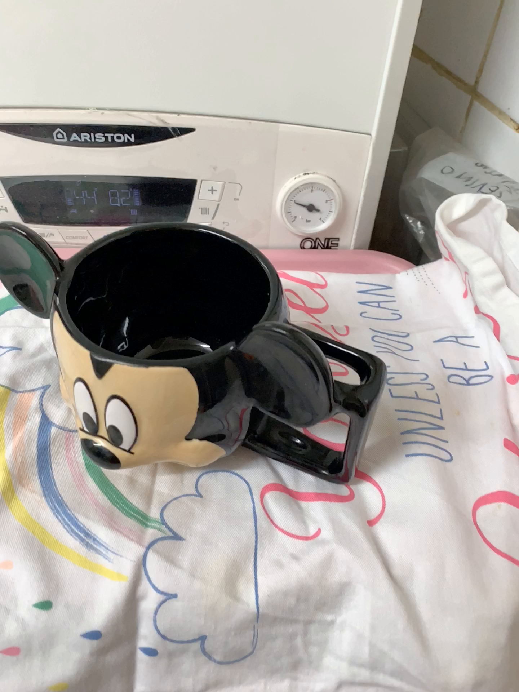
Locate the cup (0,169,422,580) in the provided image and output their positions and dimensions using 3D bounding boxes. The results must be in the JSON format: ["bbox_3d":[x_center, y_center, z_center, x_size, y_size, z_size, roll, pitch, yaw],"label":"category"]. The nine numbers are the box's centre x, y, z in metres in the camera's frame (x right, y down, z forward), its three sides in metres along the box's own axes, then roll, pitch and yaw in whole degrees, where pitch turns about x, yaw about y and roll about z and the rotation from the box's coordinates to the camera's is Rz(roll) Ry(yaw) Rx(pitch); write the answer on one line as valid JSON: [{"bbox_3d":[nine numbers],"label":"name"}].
[{"bbox_3d":[-0.042,-0.001,0.241,0.190,0.079,0.101,20,43,16],"label":"cup"}]
